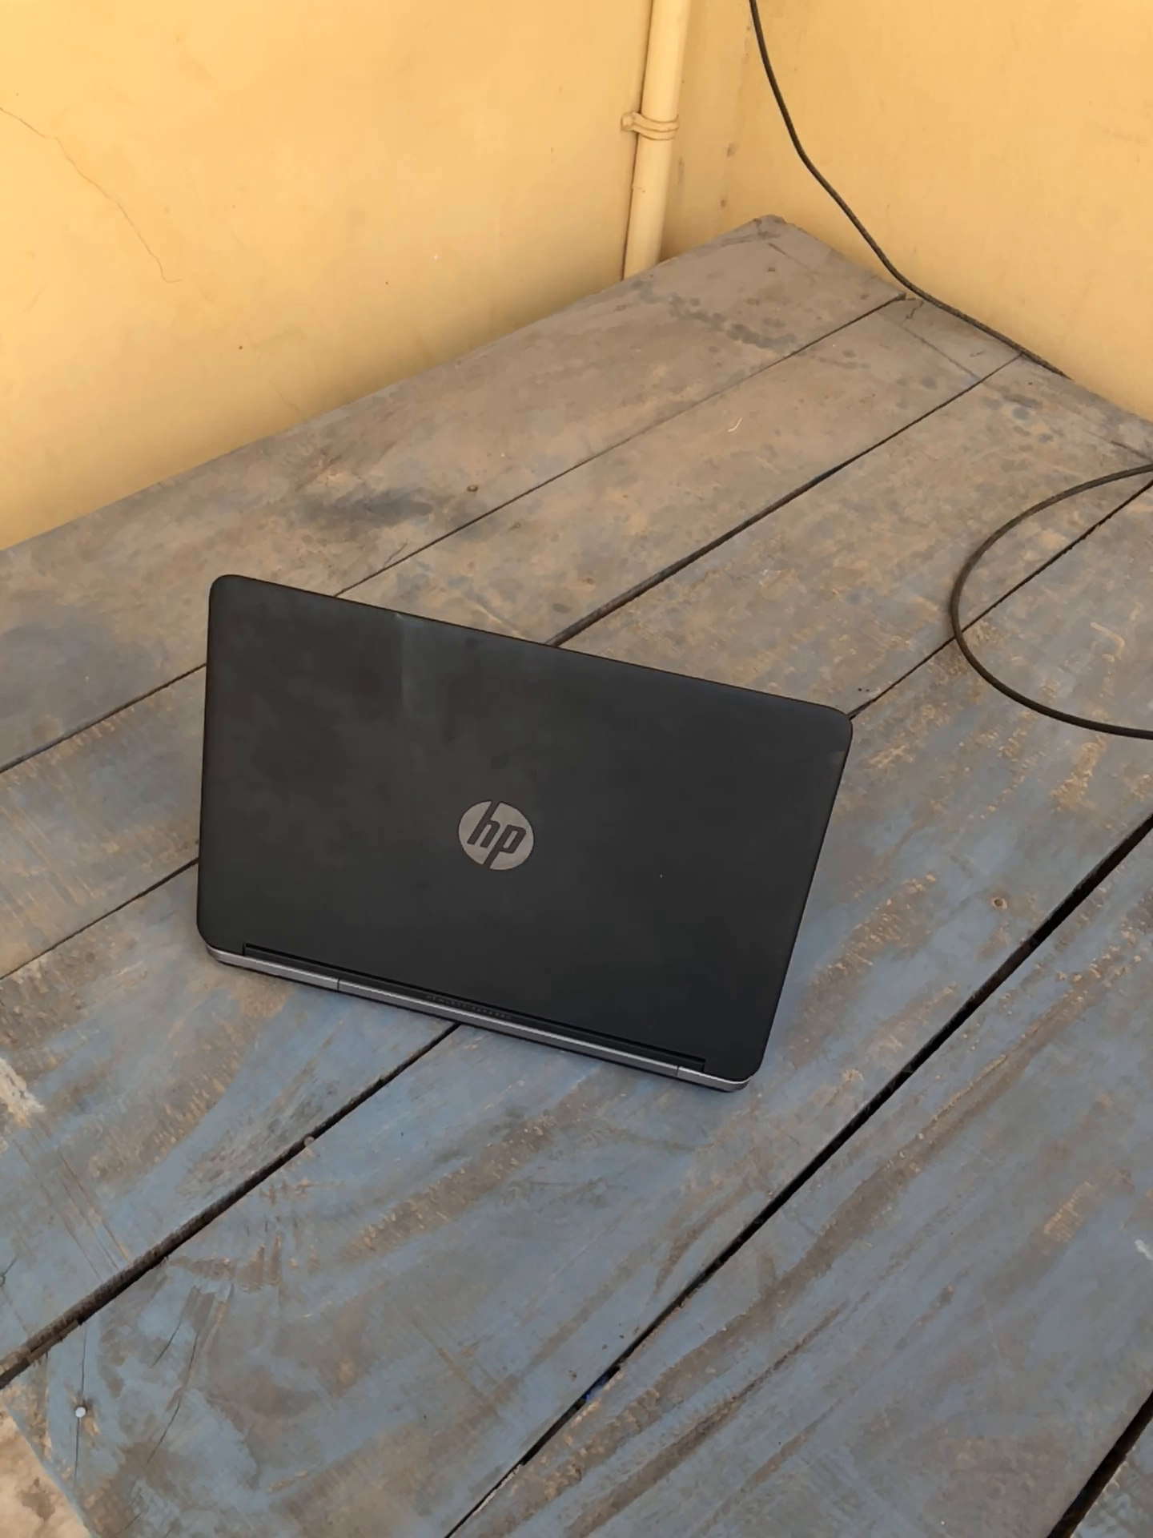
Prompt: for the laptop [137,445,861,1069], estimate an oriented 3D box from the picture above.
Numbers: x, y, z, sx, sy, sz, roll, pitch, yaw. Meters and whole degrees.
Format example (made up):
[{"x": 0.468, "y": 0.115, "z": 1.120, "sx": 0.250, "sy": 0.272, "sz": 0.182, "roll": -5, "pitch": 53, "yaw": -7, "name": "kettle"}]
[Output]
[{"x": -0.030, "y": -0.010, "z": 0.711, "sx": 0.316, "sy": 0.196, "sz": 0.211, "roll": 12, "pitch": 50, "yaw": 7, "name": "laptop"}]
